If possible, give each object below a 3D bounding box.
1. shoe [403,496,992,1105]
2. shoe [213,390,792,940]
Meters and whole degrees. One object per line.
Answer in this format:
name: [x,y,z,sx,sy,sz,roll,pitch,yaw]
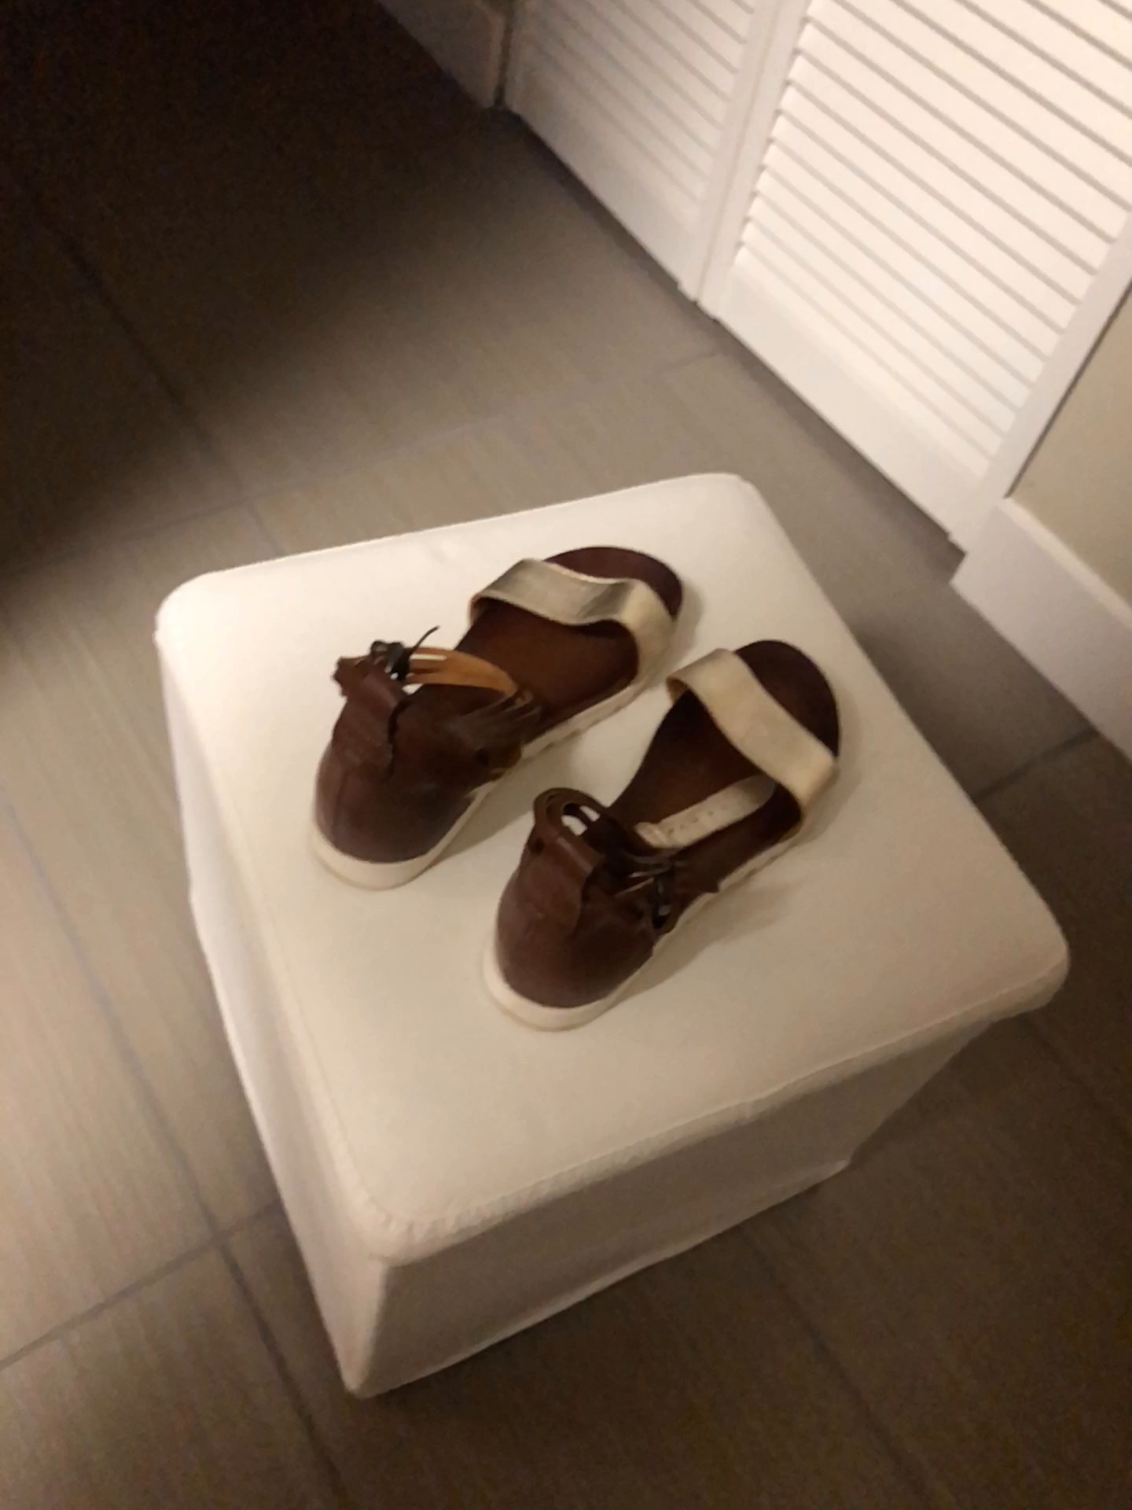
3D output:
shoe: [0.062,0.008,0.551,0.110,0.090,0.261,38,56,16]
shoe: [-0.023,-0.053,0.585,0.110,0.090,0.261,38,56,16]
